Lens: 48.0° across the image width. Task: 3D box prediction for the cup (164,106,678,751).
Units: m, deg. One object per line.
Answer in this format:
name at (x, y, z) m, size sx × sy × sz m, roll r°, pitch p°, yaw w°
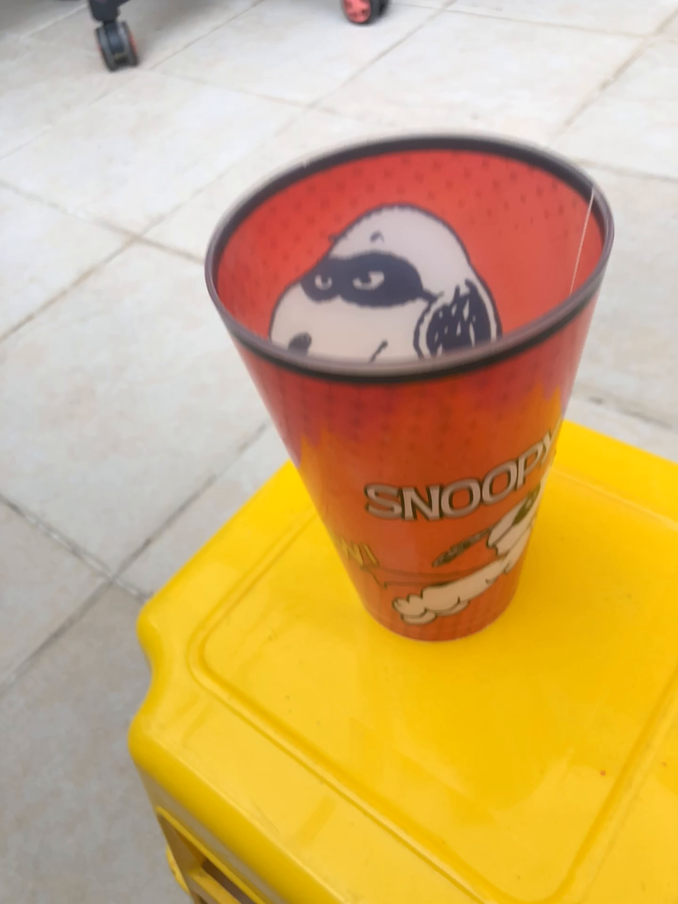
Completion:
cup at (0.025, -0.003, 0.236) m, size 0.100 × 0.139 × 0.111 m, roll -20°, pitch 49°, yaw -7°
